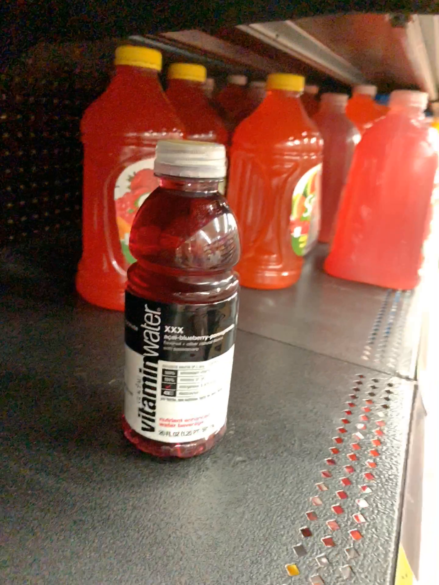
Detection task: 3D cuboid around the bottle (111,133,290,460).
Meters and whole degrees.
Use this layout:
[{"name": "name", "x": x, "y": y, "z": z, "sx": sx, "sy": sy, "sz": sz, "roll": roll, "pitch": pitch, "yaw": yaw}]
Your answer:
[{"name": "bottle", "x": -0.017, "y": 0.002, "z": 0.284, "sx": 0.080, "sy": 0.179, "sz": 0.080, "roll": 6, "pitch": 22, "yaw": -2}]
